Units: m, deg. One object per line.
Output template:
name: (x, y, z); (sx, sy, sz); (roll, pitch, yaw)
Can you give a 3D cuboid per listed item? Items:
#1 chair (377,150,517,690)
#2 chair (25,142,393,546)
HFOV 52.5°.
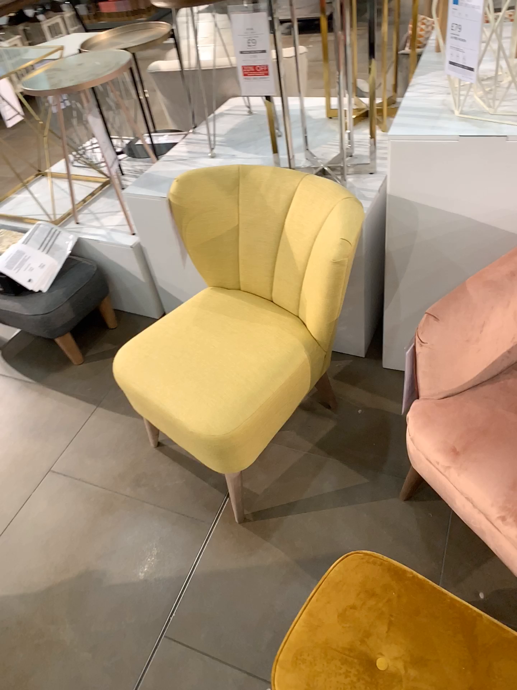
chair: (0.682, 0.151, 1.089); (0.587, 0.765, 0.621); (-29, 45, -18)
chair: (-0.075, -0.034, 1.403); (0.588, 0.696, 0.610); (-38, 48, -26)
